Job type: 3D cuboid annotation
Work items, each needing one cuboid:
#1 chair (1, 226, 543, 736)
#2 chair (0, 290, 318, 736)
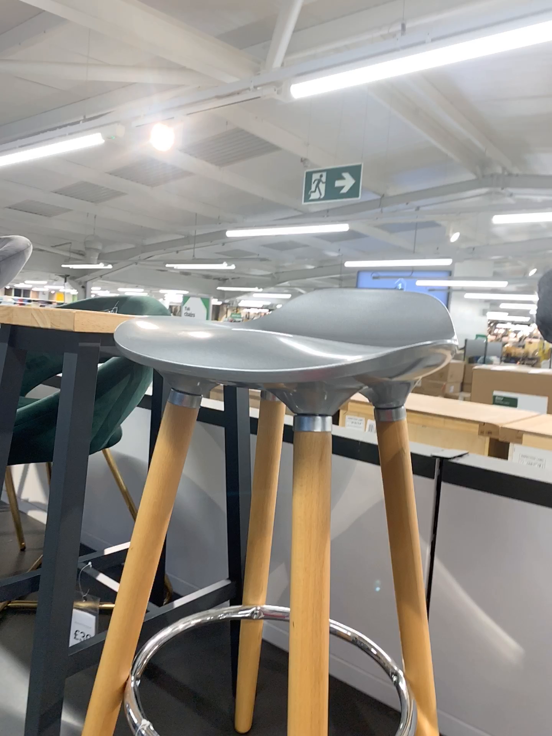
[{"bbox_3d":[0.006,0.245,0.721,0.442,0.739,0.461,7,4,39],"label":"chair"},{"bbox_3d":[-0.278,0.240,0.990,0.442,0.689,0.501,7,4,37],"label":"chair"}]
